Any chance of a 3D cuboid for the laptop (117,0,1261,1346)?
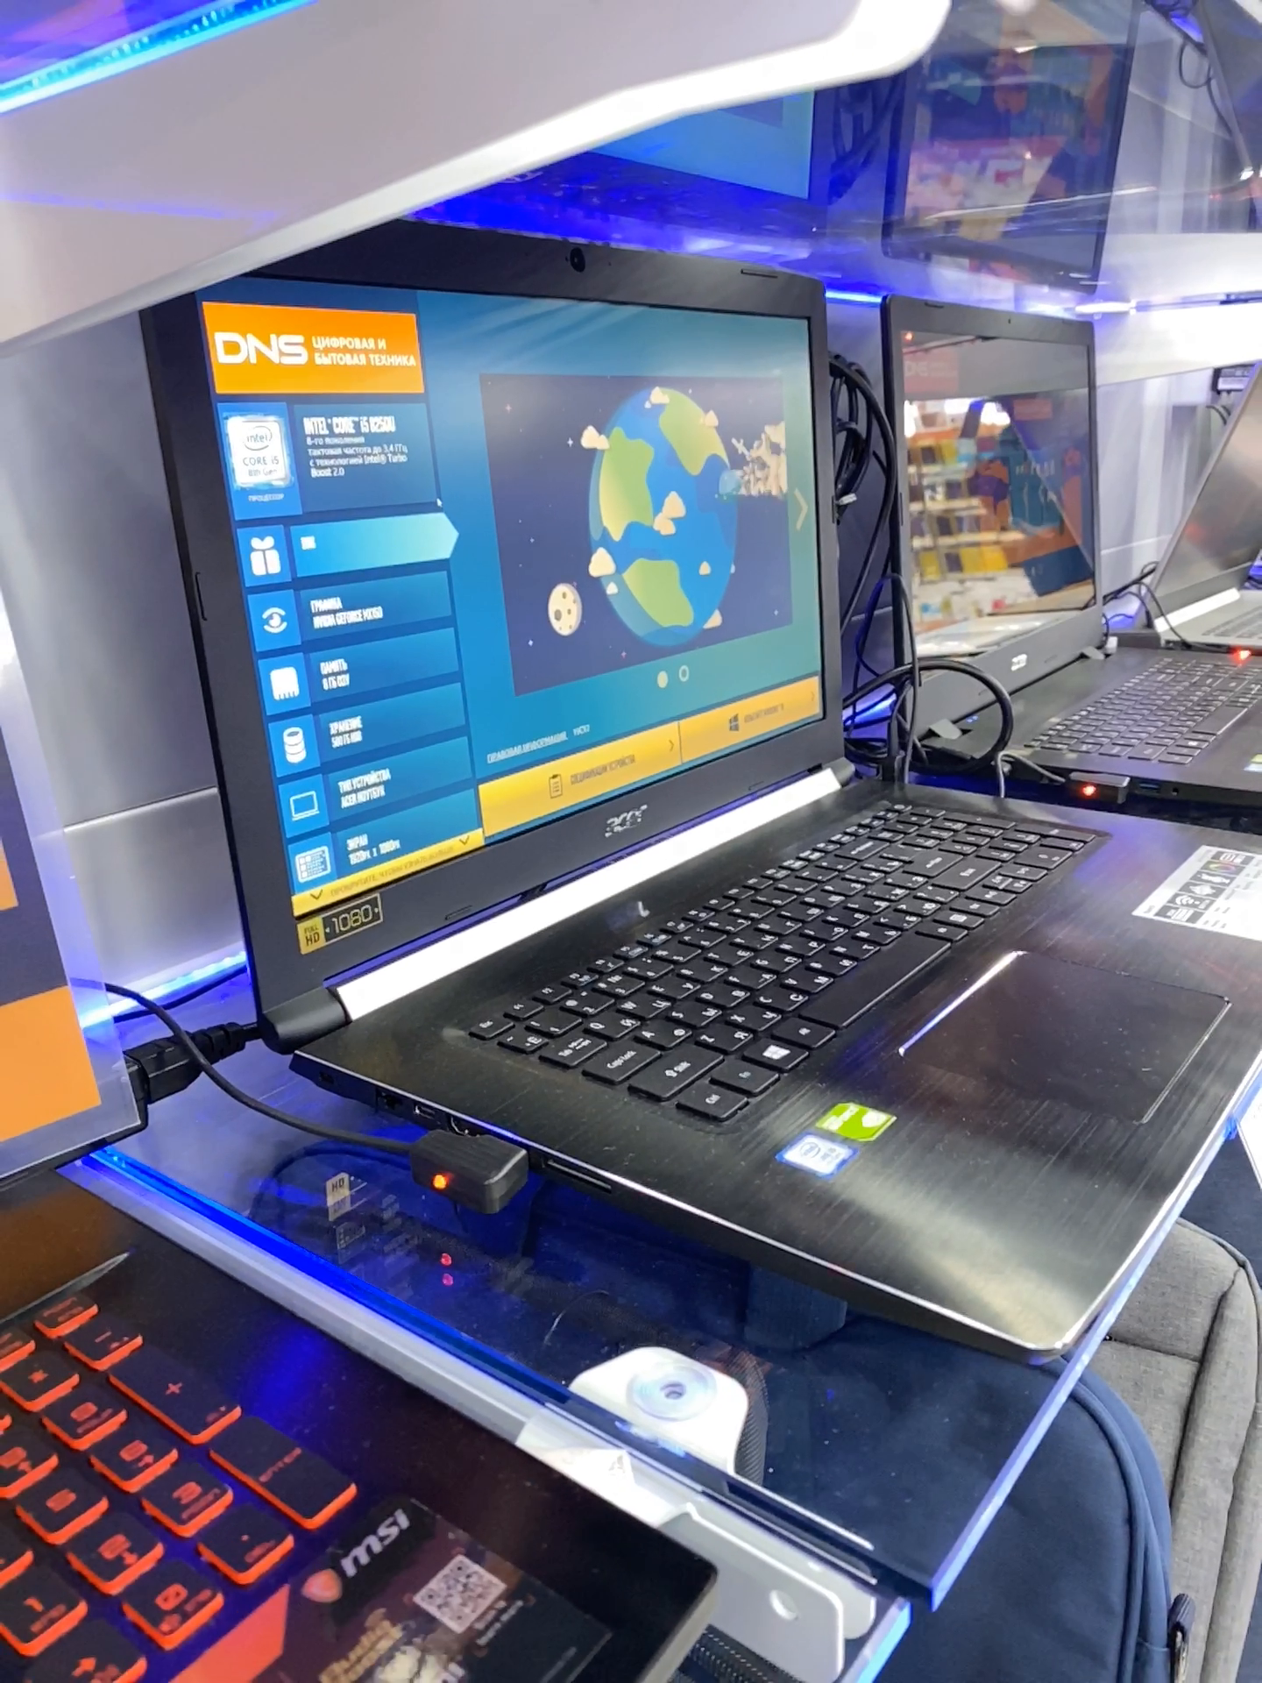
[{"bbox_3d":[0.102,-0.096,0.504,0.311,0.278,0.424,11,21,36],"label":"laptop"}]
